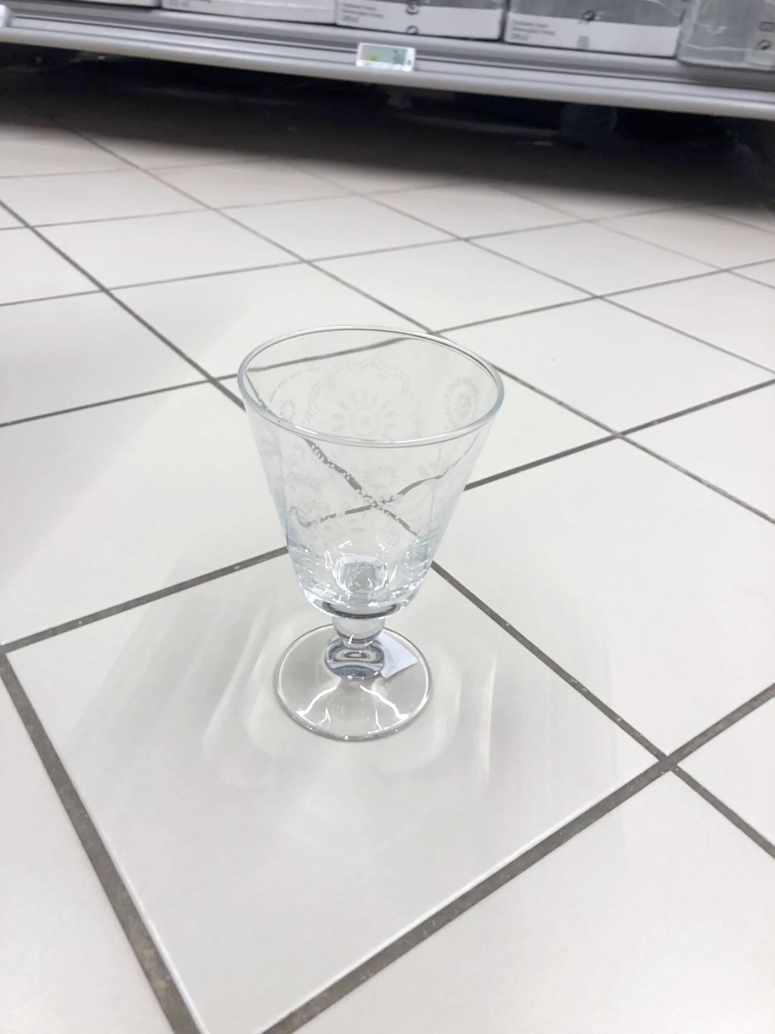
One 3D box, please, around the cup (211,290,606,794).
[{"bbox_3d":[-0.003,0.004,0.309,0.096,0.138,0.094,4,33,-2],"label":"cup"}]
